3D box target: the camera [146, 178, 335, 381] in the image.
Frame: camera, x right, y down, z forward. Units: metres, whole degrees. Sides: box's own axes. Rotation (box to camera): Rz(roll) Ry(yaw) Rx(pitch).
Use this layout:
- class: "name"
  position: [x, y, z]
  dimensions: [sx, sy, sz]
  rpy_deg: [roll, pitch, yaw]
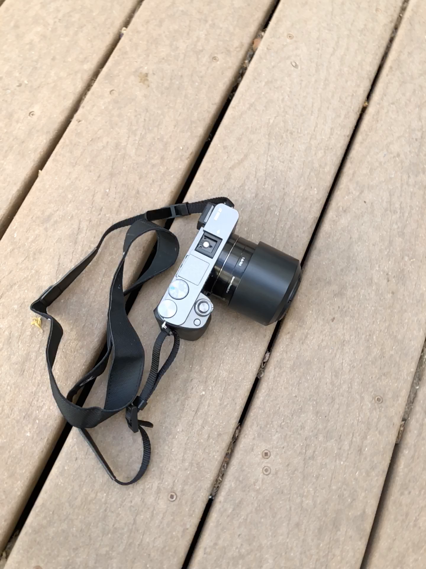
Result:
- class: "camera"
  position: [0.023, -0.002, 0.414]
  dimensions: [0.110, 0.070, 0.130]
  rpy_deg: [26, 74, 4]
